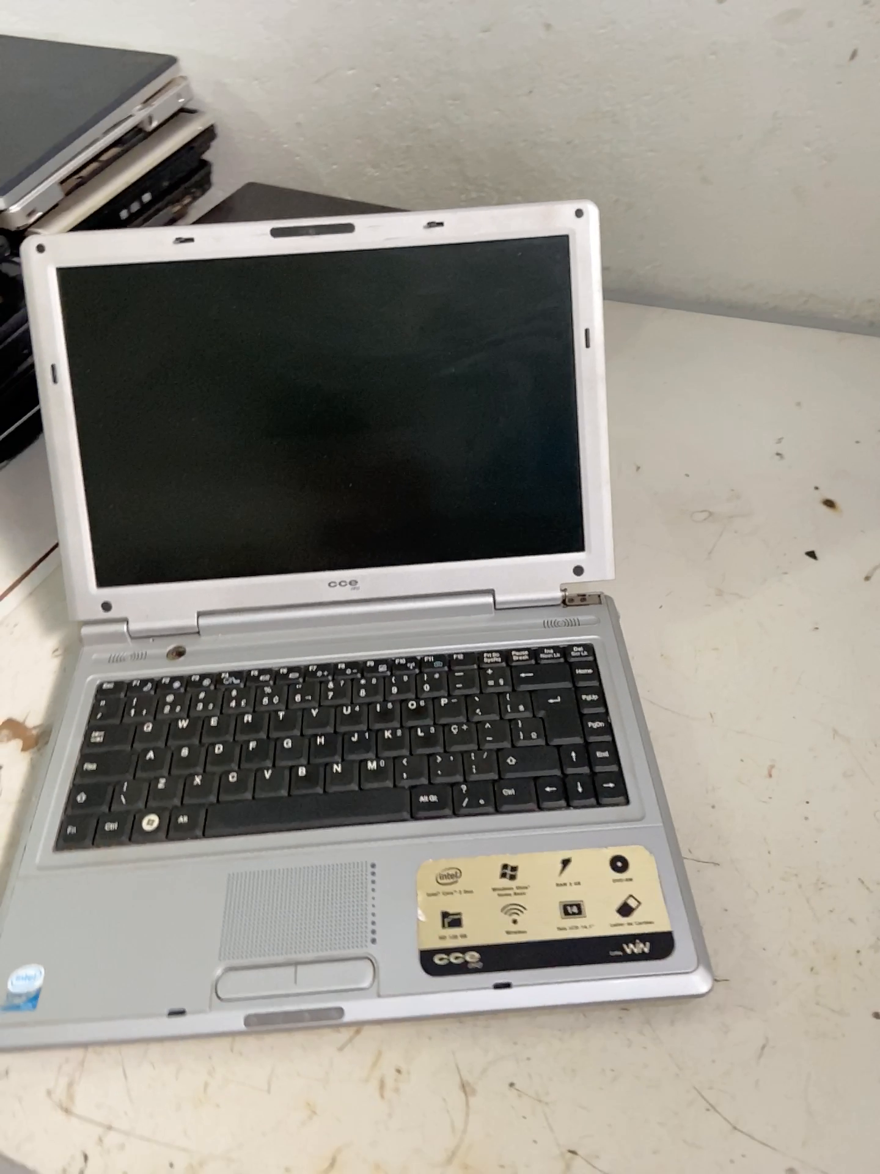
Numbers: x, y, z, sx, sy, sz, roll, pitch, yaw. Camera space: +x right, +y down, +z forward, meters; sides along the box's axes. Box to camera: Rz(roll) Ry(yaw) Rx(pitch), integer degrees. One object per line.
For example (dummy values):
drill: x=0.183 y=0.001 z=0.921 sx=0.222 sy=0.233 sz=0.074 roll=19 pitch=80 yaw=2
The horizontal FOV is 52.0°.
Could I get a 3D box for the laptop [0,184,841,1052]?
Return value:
laptop: x=-0.056 y=-0.014 z=0.469 sx=0.338 sy=0.190 sz=0.389 roll=-5 pitch=48 yaw=0
